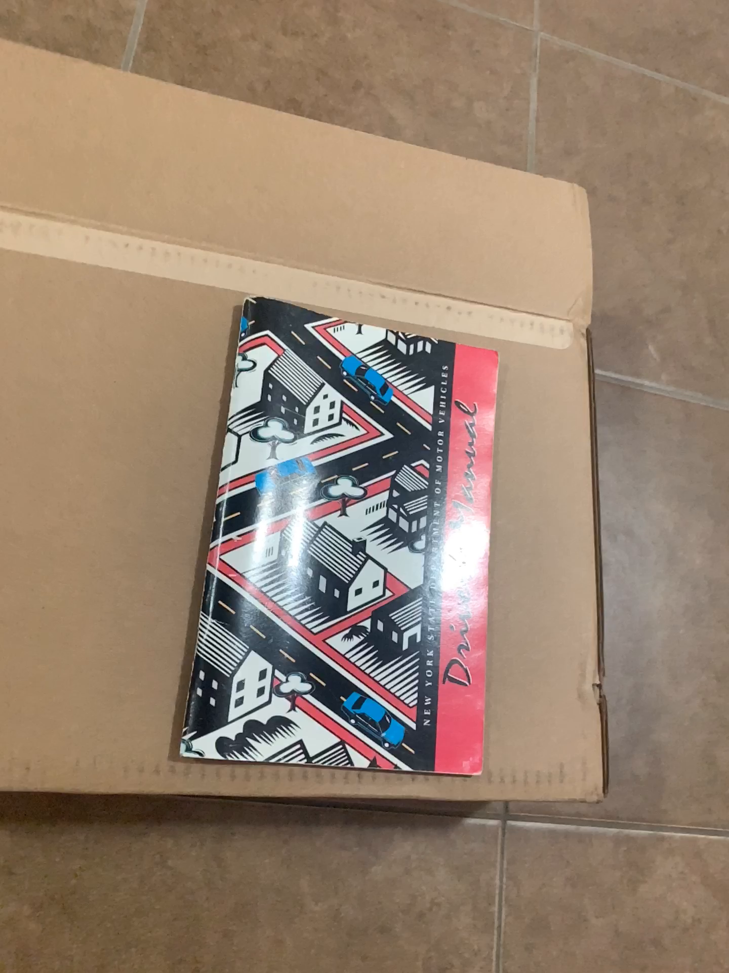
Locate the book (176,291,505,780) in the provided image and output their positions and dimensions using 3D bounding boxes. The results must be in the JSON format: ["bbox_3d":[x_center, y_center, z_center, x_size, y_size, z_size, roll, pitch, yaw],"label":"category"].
[{"bbox_3d":[-0.002,0.019,0.343,0.133,0.013,0.207,9,73,-14],"label":"book"}]
